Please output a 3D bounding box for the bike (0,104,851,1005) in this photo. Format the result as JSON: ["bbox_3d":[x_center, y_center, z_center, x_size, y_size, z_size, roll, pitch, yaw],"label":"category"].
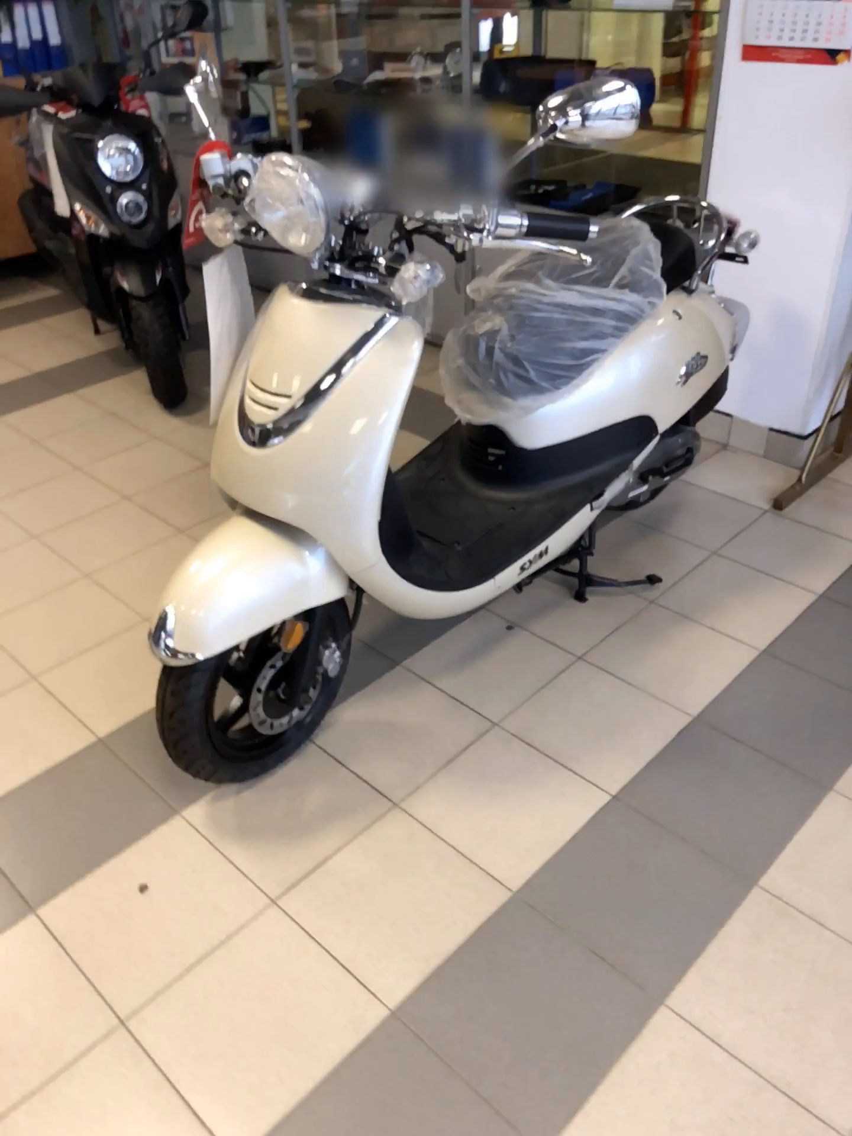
[{"bbox_3d":[0.171,-0.251,1.961,1.687,0.963,0.806,-32,43,-33],"label":"bike"}]
